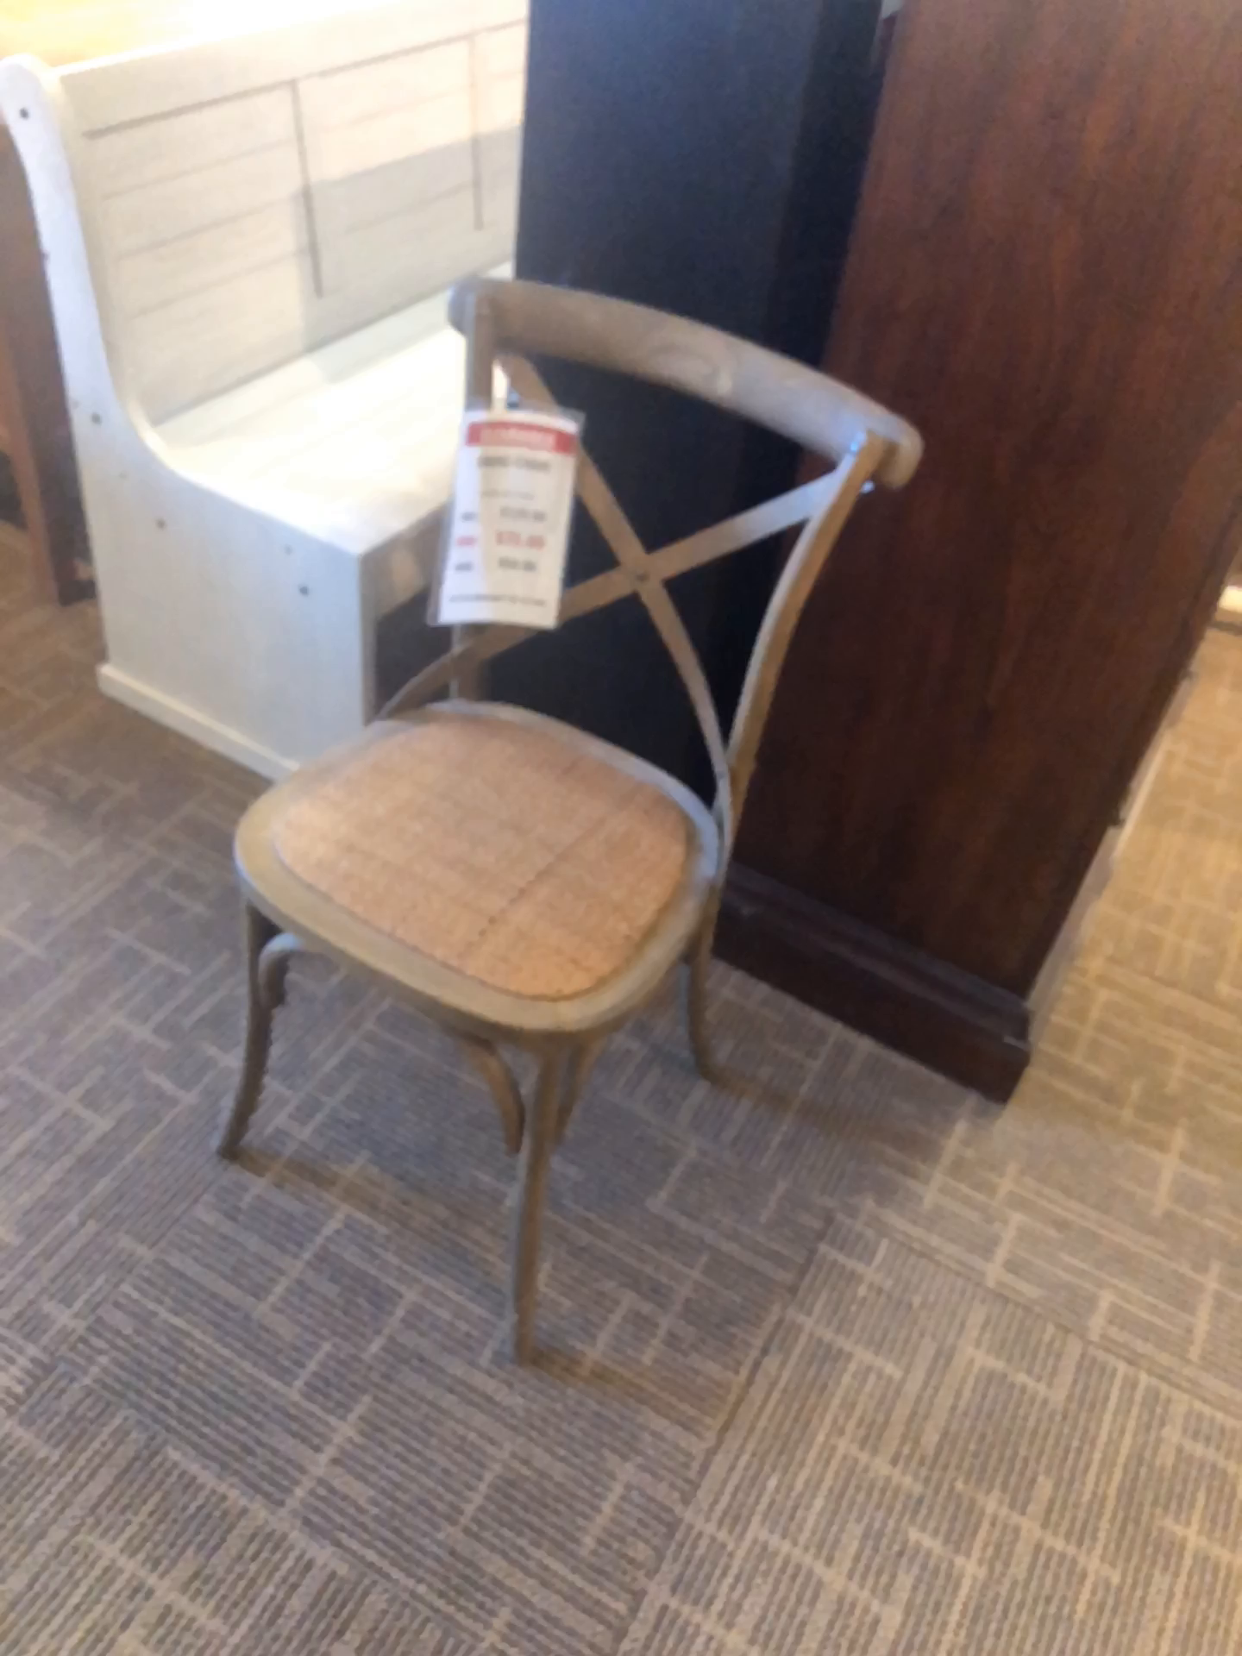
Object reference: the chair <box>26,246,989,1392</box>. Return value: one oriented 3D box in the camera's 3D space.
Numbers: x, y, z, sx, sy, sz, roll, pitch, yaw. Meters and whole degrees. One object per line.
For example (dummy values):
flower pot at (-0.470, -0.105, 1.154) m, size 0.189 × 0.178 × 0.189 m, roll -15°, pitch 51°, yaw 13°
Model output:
chair at (-0.099, -0.011, 1.351) m, size 0.515 × 0.813 × 0.568 m, roll 27°, pitch 45°, yaw 20°
